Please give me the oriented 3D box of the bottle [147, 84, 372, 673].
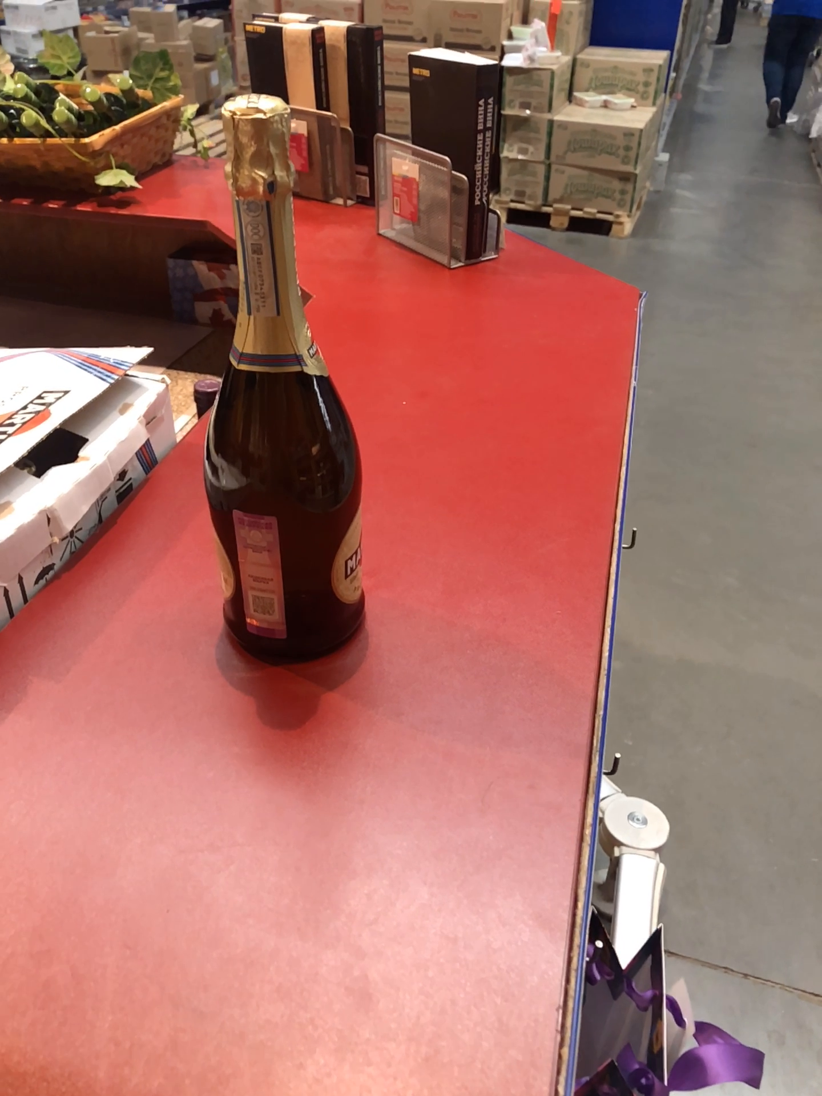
[{"bbox_3d":[-0.069,-0.078,0.497,0.089,0.302,0.100,1,35,-2],"label":"bottle"}]
